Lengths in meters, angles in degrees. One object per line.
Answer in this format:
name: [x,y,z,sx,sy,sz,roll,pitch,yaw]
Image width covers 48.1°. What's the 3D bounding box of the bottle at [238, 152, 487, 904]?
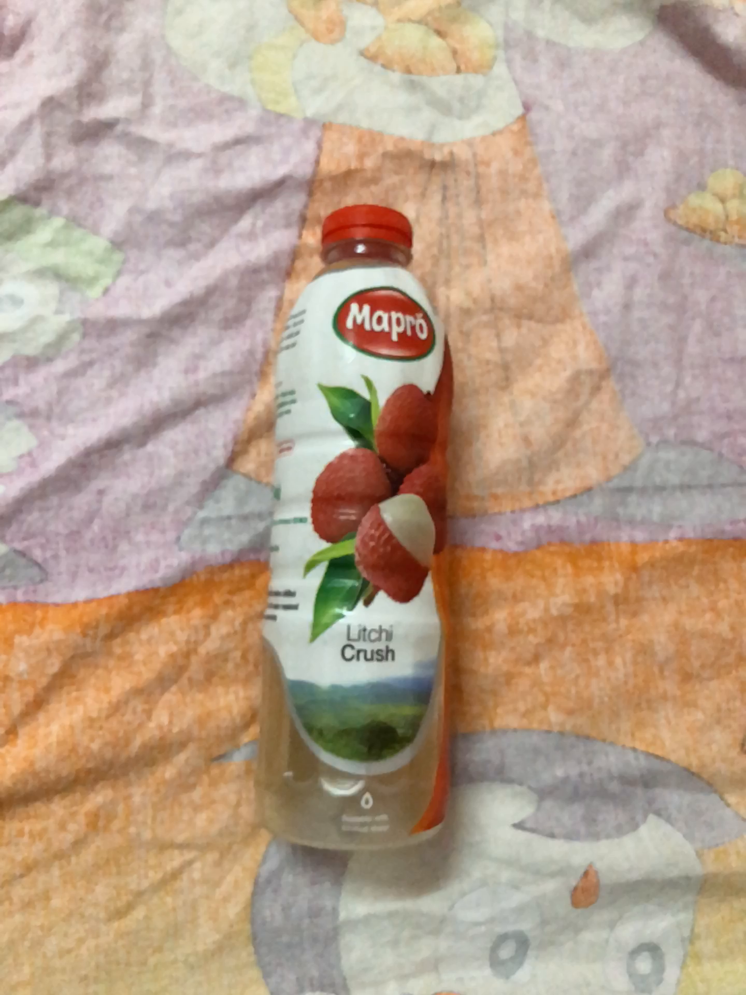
bottle: [-0.006,0.009,0.328,0.080,0.070,0.260,3,83,-9]
